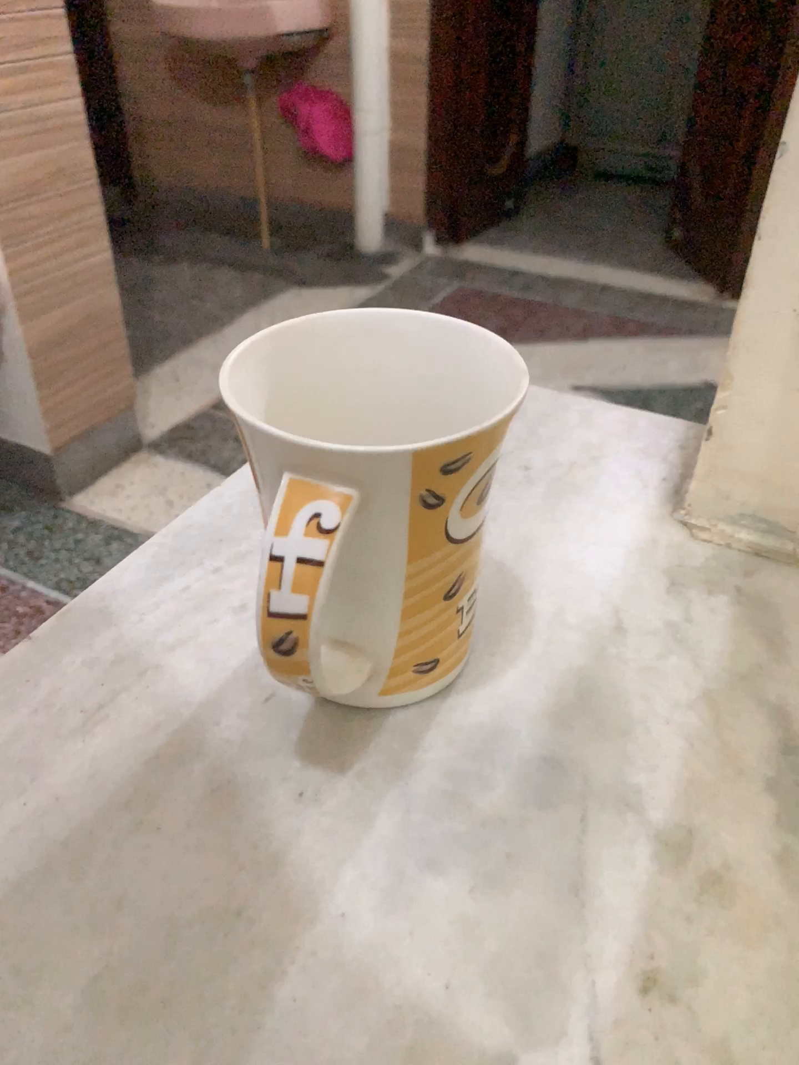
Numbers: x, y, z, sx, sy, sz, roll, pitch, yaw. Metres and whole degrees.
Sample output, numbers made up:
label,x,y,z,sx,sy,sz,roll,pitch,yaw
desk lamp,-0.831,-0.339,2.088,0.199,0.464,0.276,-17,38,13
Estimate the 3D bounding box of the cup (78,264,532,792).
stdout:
label,x,y,z,sx,sy,sz,roll,pitch,yaw
cup,-0.017,-0.007,0.240,0.080,0.100,0.100,13,39,15
